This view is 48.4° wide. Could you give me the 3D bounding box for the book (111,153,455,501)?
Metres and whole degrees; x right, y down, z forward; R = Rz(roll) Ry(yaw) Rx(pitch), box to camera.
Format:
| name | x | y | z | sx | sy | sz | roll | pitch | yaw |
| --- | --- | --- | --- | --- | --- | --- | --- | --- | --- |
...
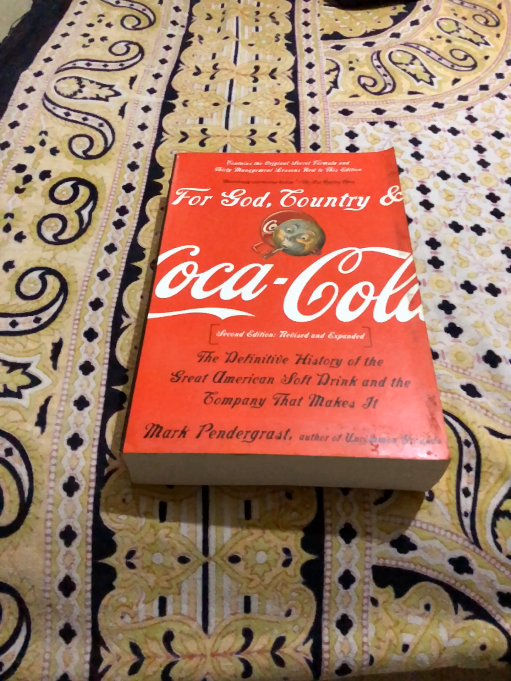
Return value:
| name | x | y | z | sx | sy | sz | roll | pitch | yaw |
| --- | --- | --- | --- | --- | --- | --- | --- | --- | --- |
| book | 0.015 | -0.024 | 0.352 | 0.160 | 0.050 | 0.231 | 1 | 54 | 2 |
